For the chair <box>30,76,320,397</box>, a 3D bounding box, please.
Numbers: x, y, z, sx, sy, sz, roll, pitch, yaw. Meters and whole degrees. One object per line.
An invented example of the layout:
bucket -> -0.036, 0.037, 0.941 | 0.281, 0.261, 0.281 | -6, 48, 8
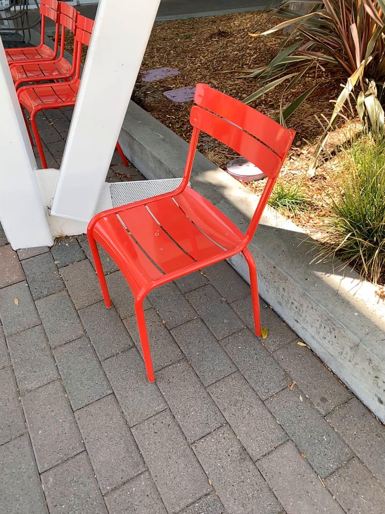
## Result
chair -> -0.076, -0.098, 1.381 | 0.630, 0.785, 0.583 | -21, 44, -23
